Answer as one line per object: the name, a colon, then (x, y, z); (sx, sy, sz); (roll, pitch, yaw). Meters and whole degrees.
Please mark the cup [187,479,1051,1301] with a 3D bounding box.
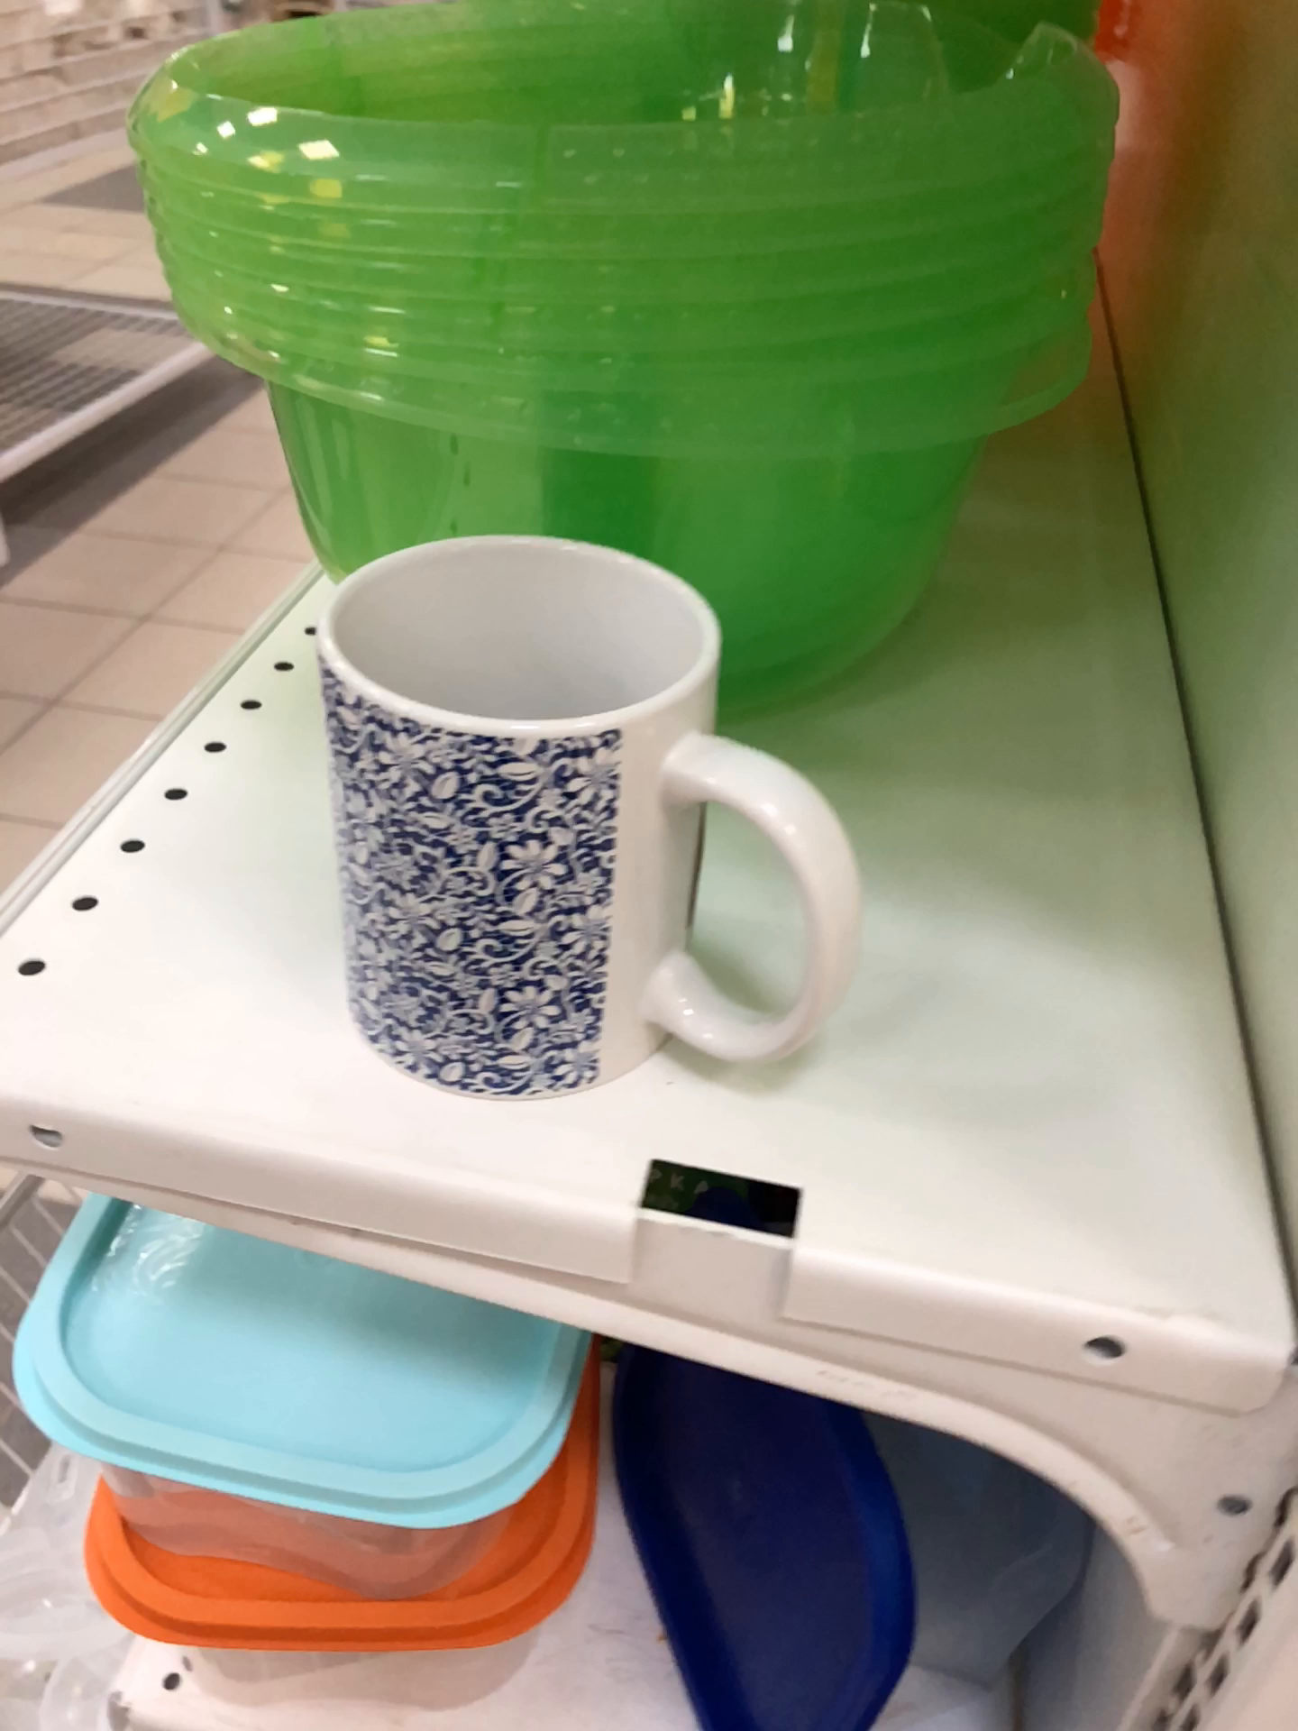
cup: (-0.007, -0.005, 0.308); (0.138, 0.098, 0.098); (24, 41, 27)
